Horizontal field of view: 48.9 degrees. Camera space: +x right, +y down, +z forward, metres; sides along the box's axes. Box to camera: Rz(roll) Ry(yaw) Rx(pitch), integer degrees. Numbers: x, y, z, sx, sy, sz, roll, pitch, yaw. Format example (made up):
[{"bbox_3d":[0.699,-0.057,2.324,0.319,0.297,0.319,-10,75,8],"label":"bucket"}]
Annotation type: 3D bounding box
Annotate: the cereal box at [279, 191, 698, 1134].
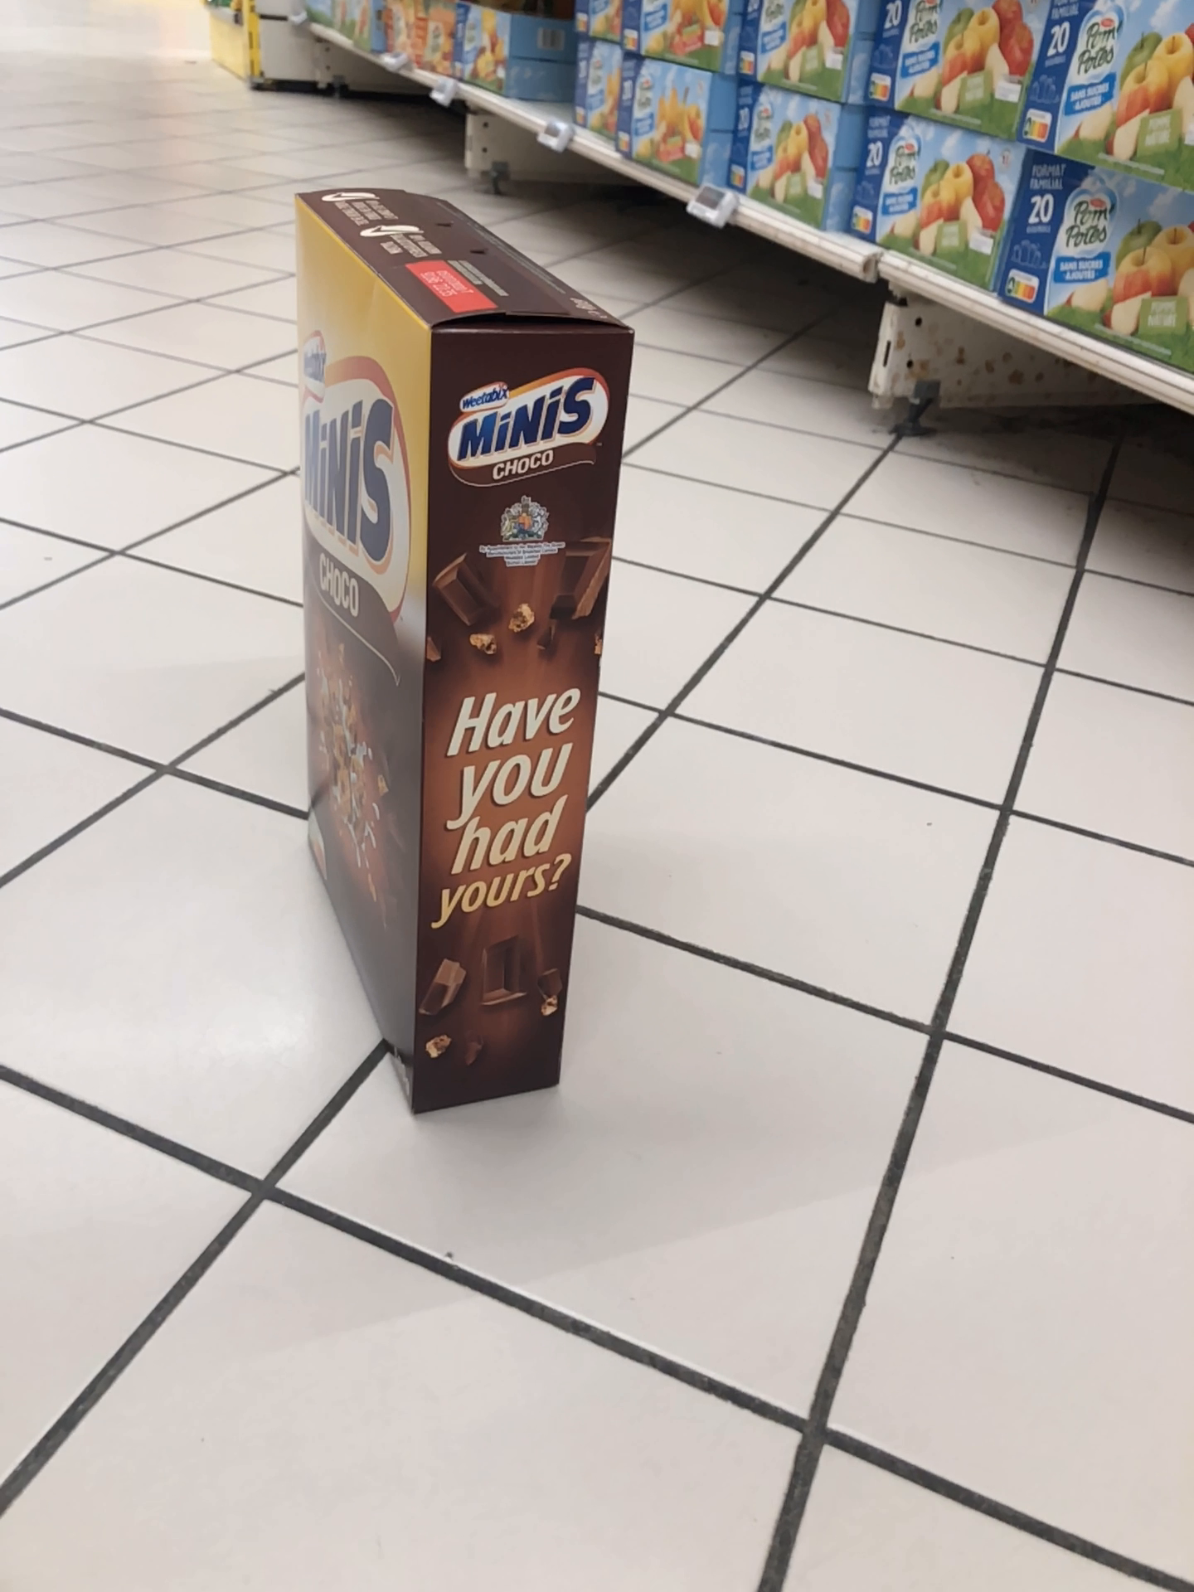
[{"bbox_3d":[-0.059,-0.055,0.500,0.080,0.288,0.201,-7,34,-21],"label":"cereal box"}]
